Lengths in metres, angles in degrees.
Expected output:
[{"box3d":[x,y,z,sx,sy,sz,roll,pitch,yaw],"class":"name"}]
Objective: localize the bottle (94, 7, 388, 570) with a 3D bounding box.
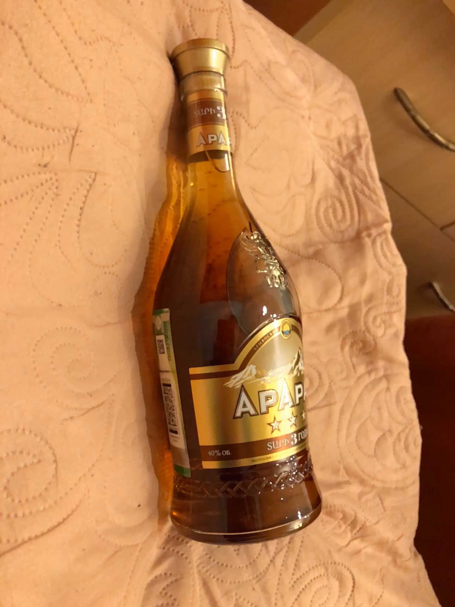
[{"box3d":[0.003,-0.009,0.290,0.090,0.089,0.257,-6,84,-40],"class":"bottle"}]
